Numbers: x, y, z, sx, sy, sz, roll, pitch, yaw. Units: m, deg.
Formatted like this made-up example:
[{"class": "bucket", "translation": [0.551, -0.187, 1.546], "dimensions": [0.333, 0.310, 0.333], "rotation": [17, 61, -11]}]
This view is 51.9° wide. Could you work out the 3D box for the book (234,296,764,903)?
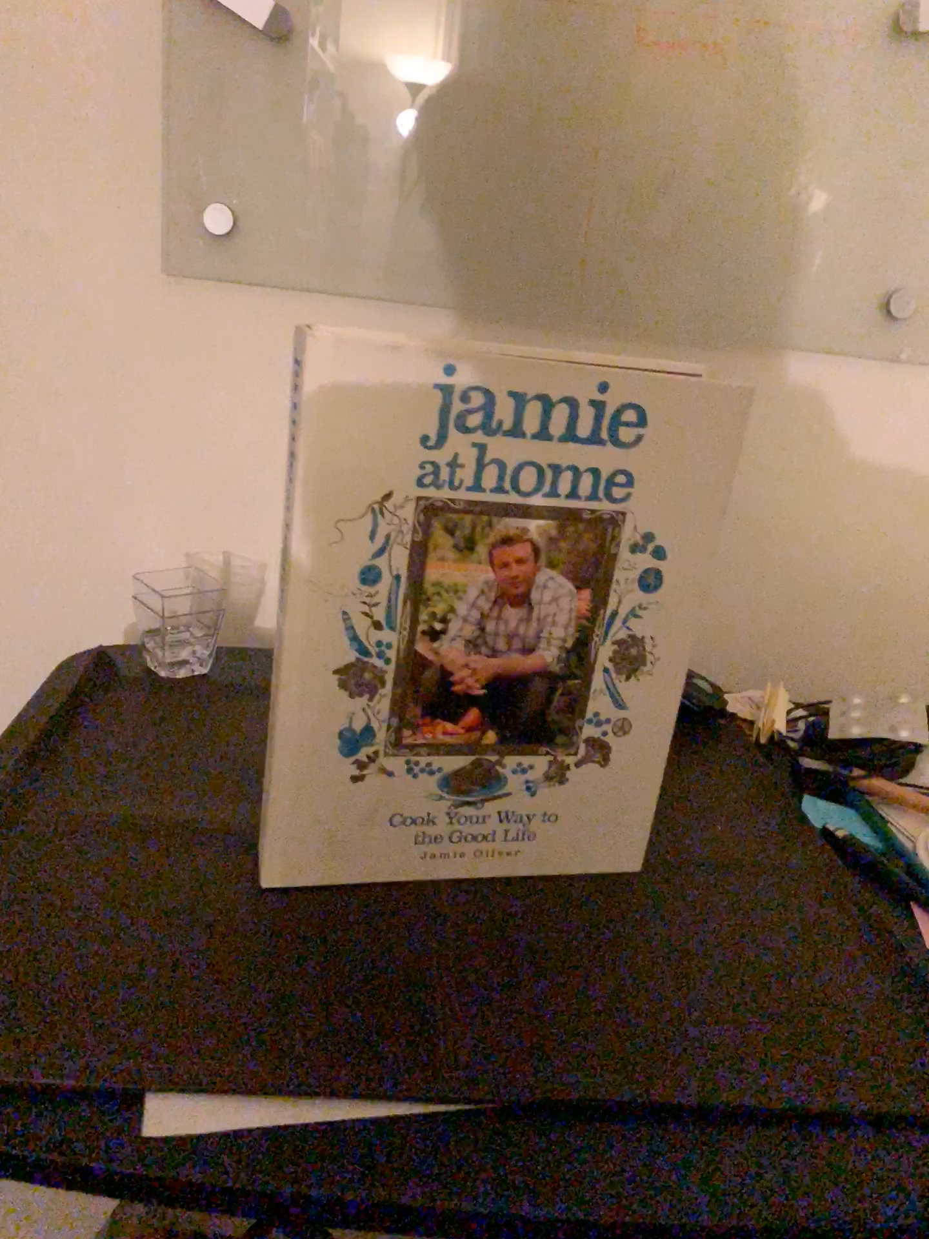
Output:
[{"class": "book", "translation": [0.005, 0.002, 0.452], "dimensions": [0.210, 0.269, 0.050], "rotation": [2, 21, -15]}]
